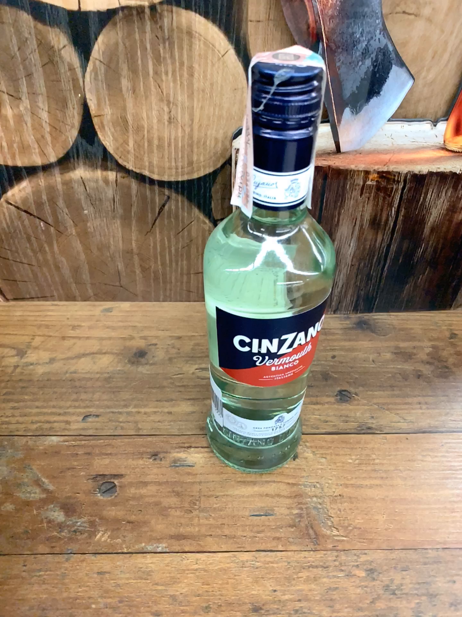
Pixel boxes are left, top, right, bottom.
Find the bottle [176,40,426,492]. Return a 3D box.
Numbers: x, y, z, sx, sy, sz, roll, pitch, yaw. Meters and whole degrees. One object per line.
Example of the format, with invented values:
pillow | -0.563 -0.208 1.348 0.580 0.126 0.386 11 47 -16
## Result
bottle | 0.018 -0.002 0.251 0.070 0.231 0.070 1 42 -1
